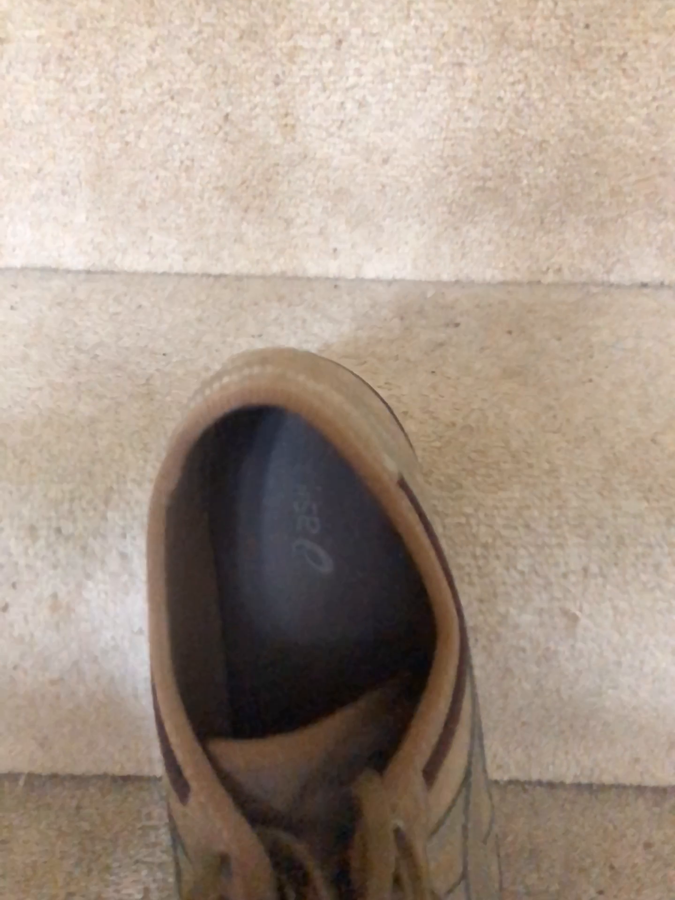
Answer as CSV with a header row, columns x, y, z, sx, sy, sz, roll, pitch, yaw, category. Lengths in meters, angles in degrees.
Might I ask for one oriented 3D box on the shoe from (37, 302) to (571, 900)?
x,y,z,sx,sy,sz,roll,pitch,yaw,category
-0.009,0.121,0.232,0.110,0.300,0.120,-3,-8,4,shoe
